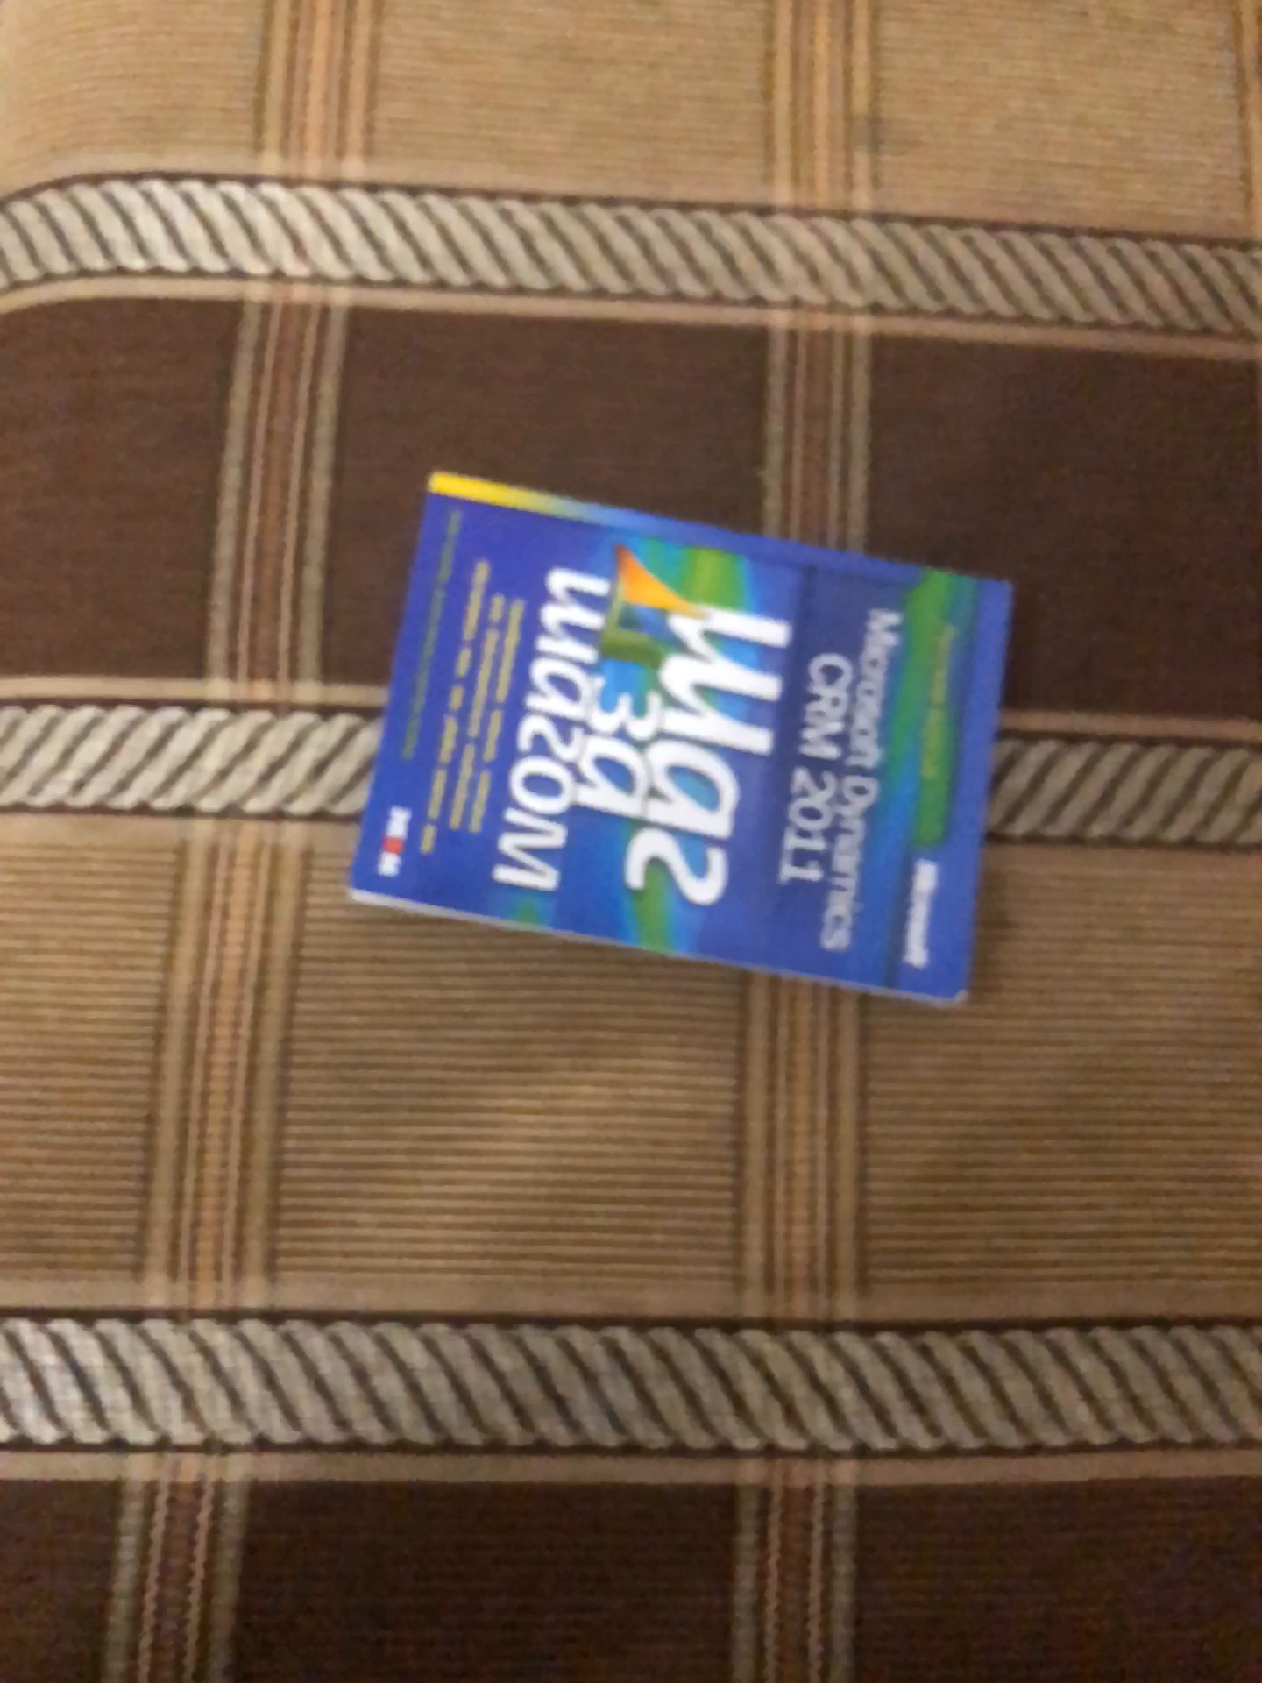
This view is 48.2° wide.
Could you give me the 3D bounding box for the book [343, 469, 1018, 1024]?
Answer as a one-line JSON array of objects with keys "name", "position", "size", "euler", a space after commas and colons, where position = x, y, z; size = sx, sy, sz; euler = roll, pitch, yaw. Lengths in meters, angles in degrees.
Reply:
[{"name": "book", "position": [0.019, -0.031, 0.474], "size": [0.200, 0.030, 0.151], "euler": [10, 79, -2]}]
